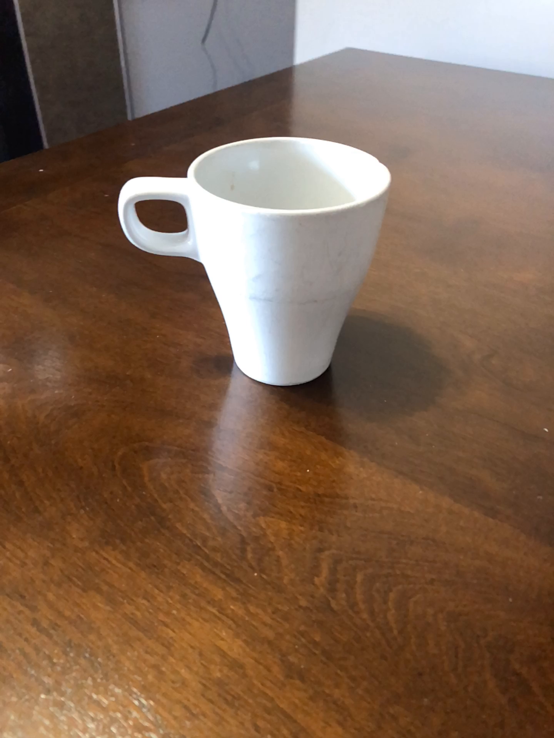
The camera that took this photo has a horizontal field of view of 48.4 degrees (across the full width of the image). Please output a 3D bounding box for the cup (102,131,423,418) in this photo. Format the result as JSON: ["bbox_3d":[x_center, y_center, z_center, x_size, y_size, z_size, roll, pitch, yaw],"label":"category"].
[{"bbox_3d":[-0.011,-0.047,0.290,0.120,0.100,0.080,-5,38,-8],"label":"cup"}]
